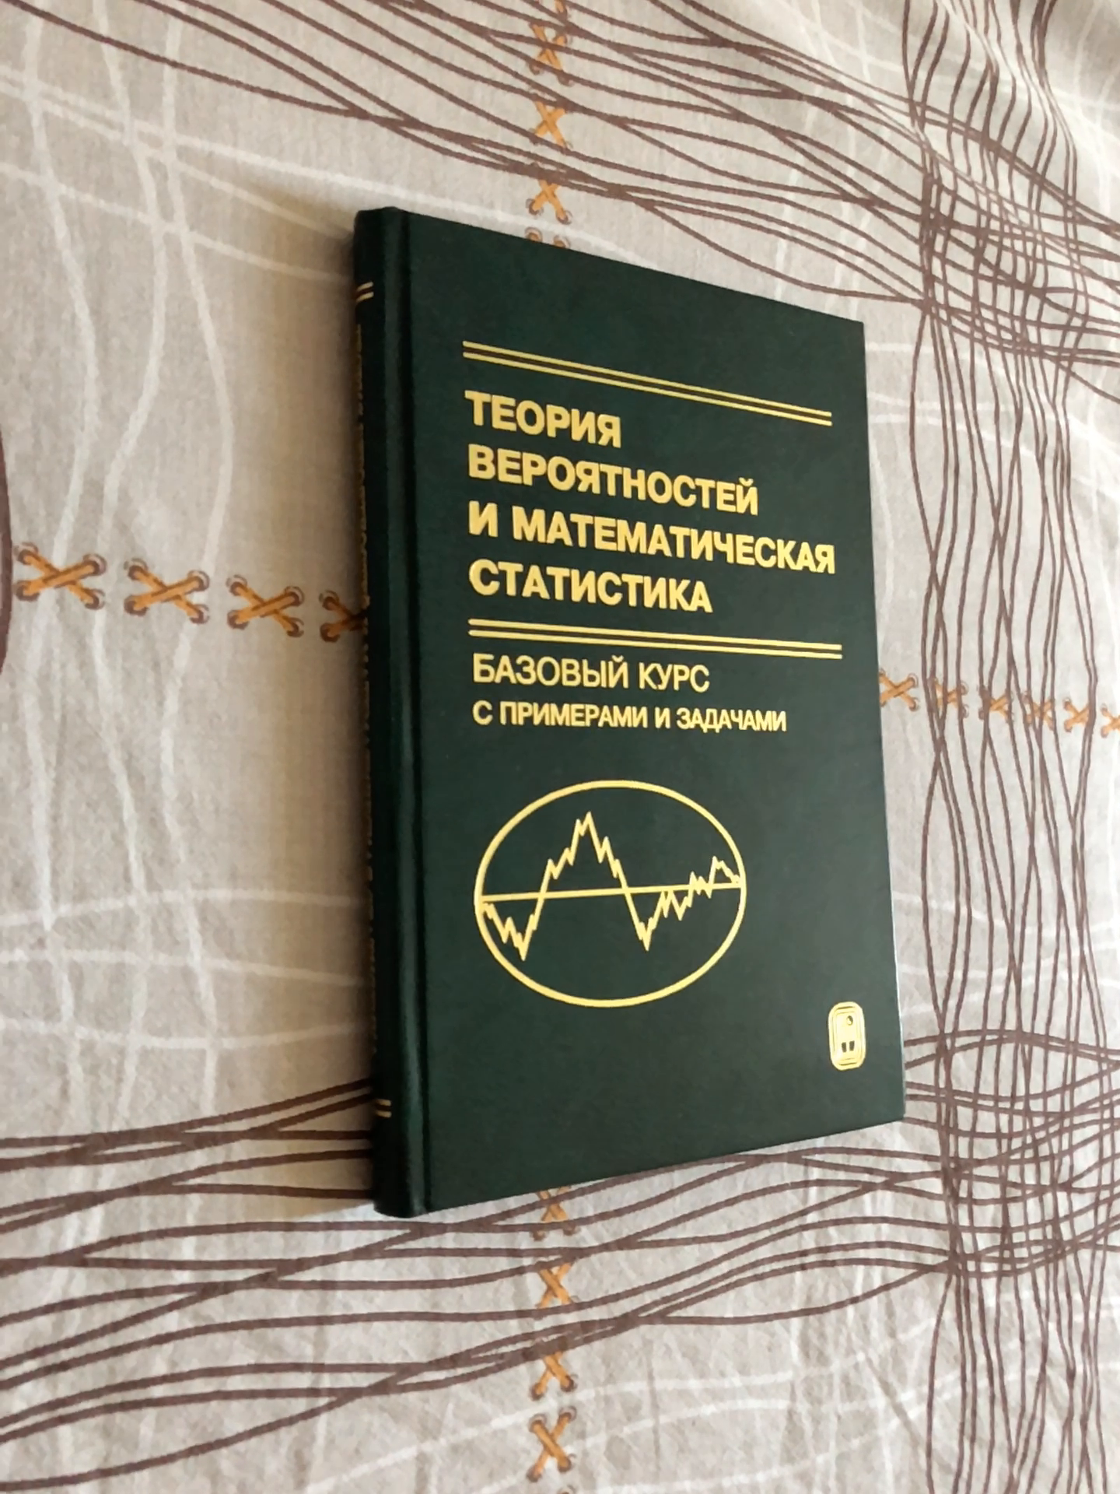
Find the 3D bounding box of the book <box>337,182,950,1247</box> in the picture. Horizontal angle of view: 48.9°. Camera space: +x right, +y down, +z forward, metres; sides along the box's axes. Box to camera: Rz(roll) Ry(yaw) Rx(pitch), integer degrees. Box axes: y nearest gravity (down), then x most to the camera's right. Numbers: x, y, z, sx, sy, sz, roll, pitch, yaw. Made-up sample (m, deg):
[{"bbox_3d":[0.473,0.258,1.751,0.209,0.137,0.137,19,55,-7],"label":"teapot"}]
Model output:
[{"bbox_3d":[0.024,-0.008,0.300,0.151,0.030,0.217,1,84,-30],"label":"book"}]
